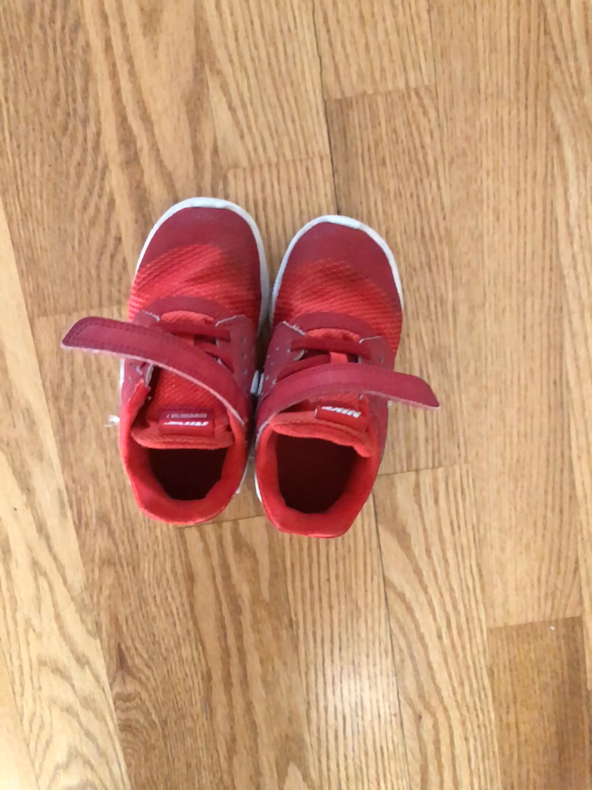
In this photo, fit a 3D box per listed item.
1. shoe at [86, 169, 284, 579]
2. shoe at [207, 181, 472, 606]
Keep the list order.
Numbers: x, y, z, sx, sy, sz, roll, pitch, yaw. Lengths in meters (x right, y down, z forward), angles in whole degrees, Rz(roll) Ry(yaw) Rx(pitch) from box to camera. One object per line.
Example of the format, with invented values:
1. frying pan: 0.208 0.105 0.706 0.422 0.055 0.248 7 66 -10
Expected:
1. shoe: -0.051 -0.010 0.317 0.080 0.069 0.175 3 101 -3
2. shoe: 0.015 -0.001 0.320 0.088 0.069 0.177 8 100 -4
